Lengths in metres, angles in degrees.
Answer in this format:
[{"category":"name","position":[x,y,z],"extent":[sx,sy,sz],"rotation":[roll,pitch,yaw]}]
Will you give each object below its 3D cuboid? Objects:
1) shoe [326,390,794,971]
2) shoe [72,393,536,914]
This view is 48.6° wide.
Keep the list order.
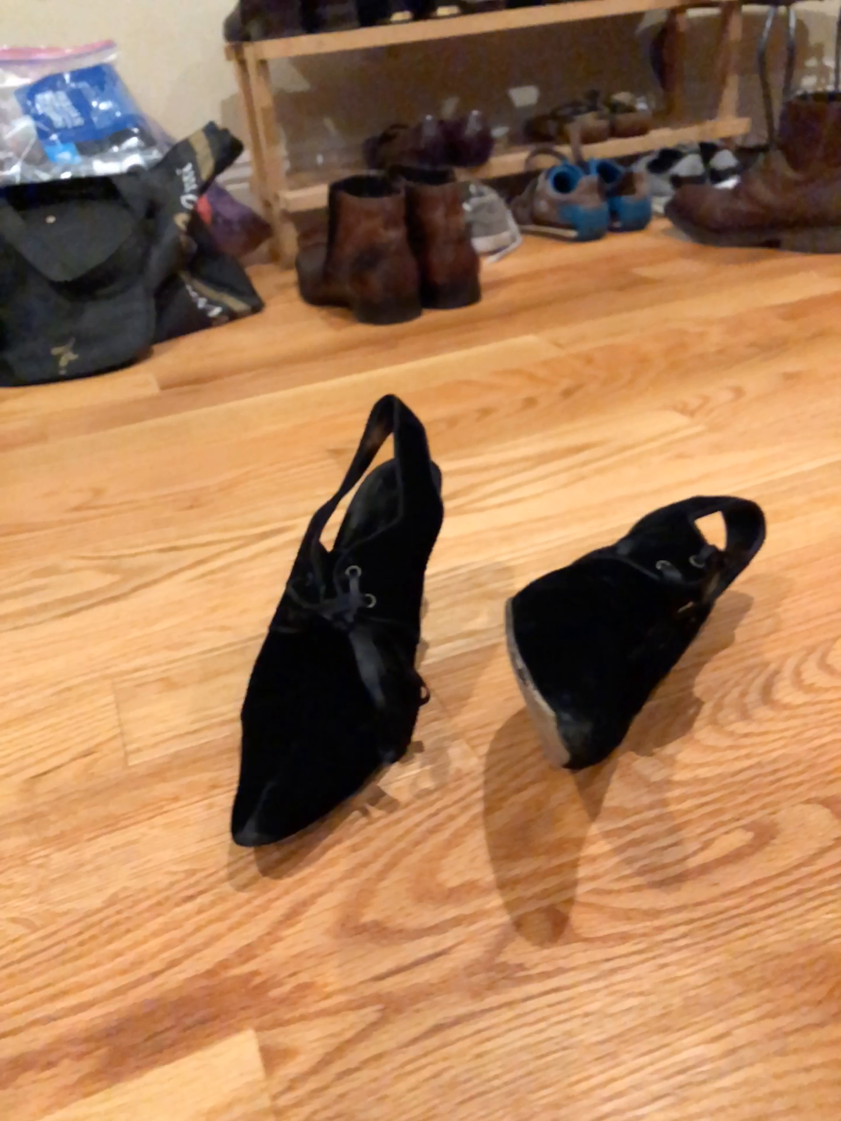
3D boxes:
[{"category":"shoe","position":[0.082,0.022,0.406],"extent":[0.118,0.107,0.253],"rotation":[7,32,25]},{"category":"shoe","position":[-0.029,0.020,0.455],"extent":[0.107,0.117,0.253],"rotation":[5,31,20]}]
